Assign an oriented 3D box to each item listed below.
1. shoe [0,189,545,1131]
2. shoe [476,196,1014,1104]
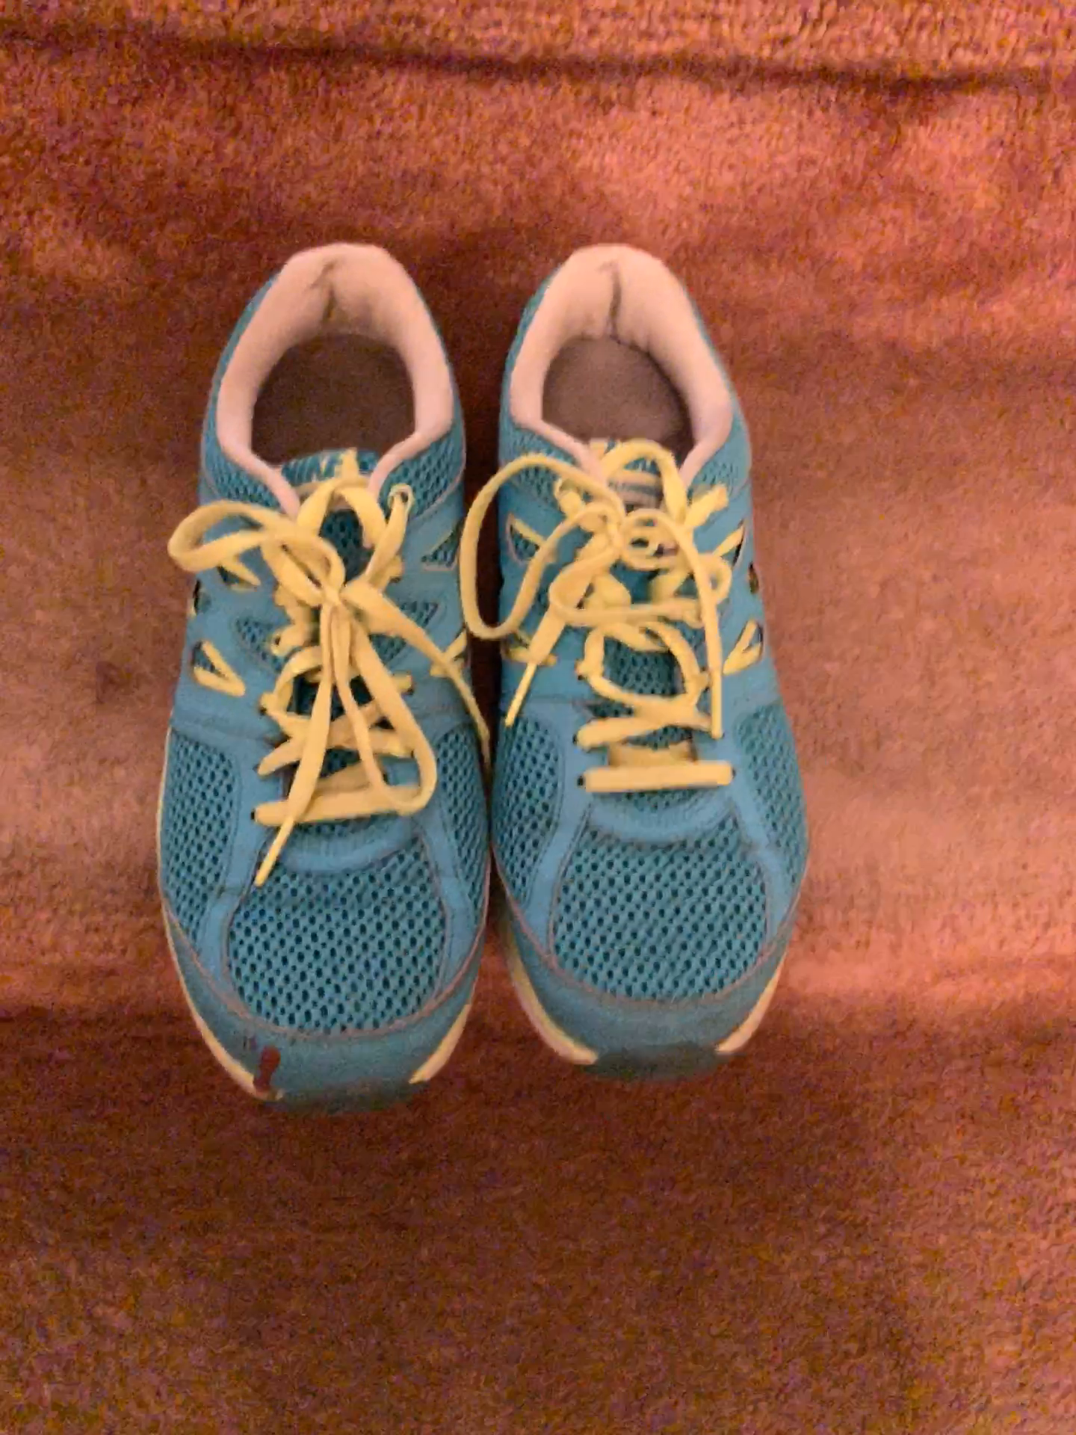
[{"bbox_3d":[-0.068,-0.035,0.343,0.110,0.099,0.282,-1,55,-6],"label":"shoe"},{"bbox_3d":[0.038,-0.036,0.353,0.110,0.099,0.282,1,55,-5],"label":"shoe"}]
